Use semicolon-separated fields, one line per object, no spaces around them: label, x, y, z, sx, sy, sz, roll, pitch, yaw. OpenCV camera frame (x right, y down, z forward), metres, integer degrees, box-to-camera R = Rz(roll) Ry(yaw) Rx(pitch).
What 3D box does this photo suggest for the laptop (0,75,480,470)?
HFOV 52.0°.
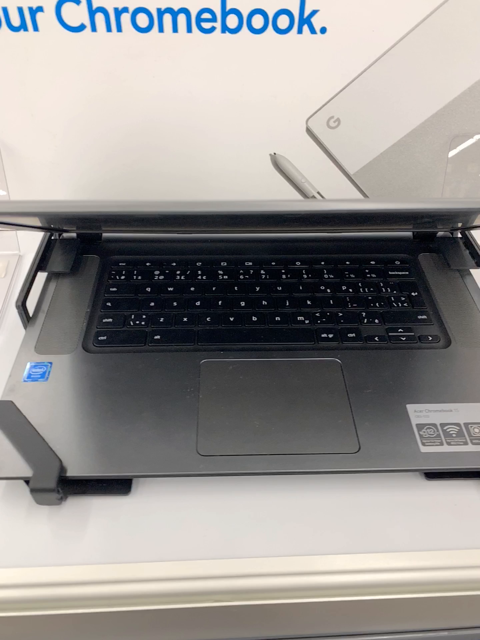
laptop;0.016;-0.037;0.277;0.301;0.116;0.194;-1;47;-2
